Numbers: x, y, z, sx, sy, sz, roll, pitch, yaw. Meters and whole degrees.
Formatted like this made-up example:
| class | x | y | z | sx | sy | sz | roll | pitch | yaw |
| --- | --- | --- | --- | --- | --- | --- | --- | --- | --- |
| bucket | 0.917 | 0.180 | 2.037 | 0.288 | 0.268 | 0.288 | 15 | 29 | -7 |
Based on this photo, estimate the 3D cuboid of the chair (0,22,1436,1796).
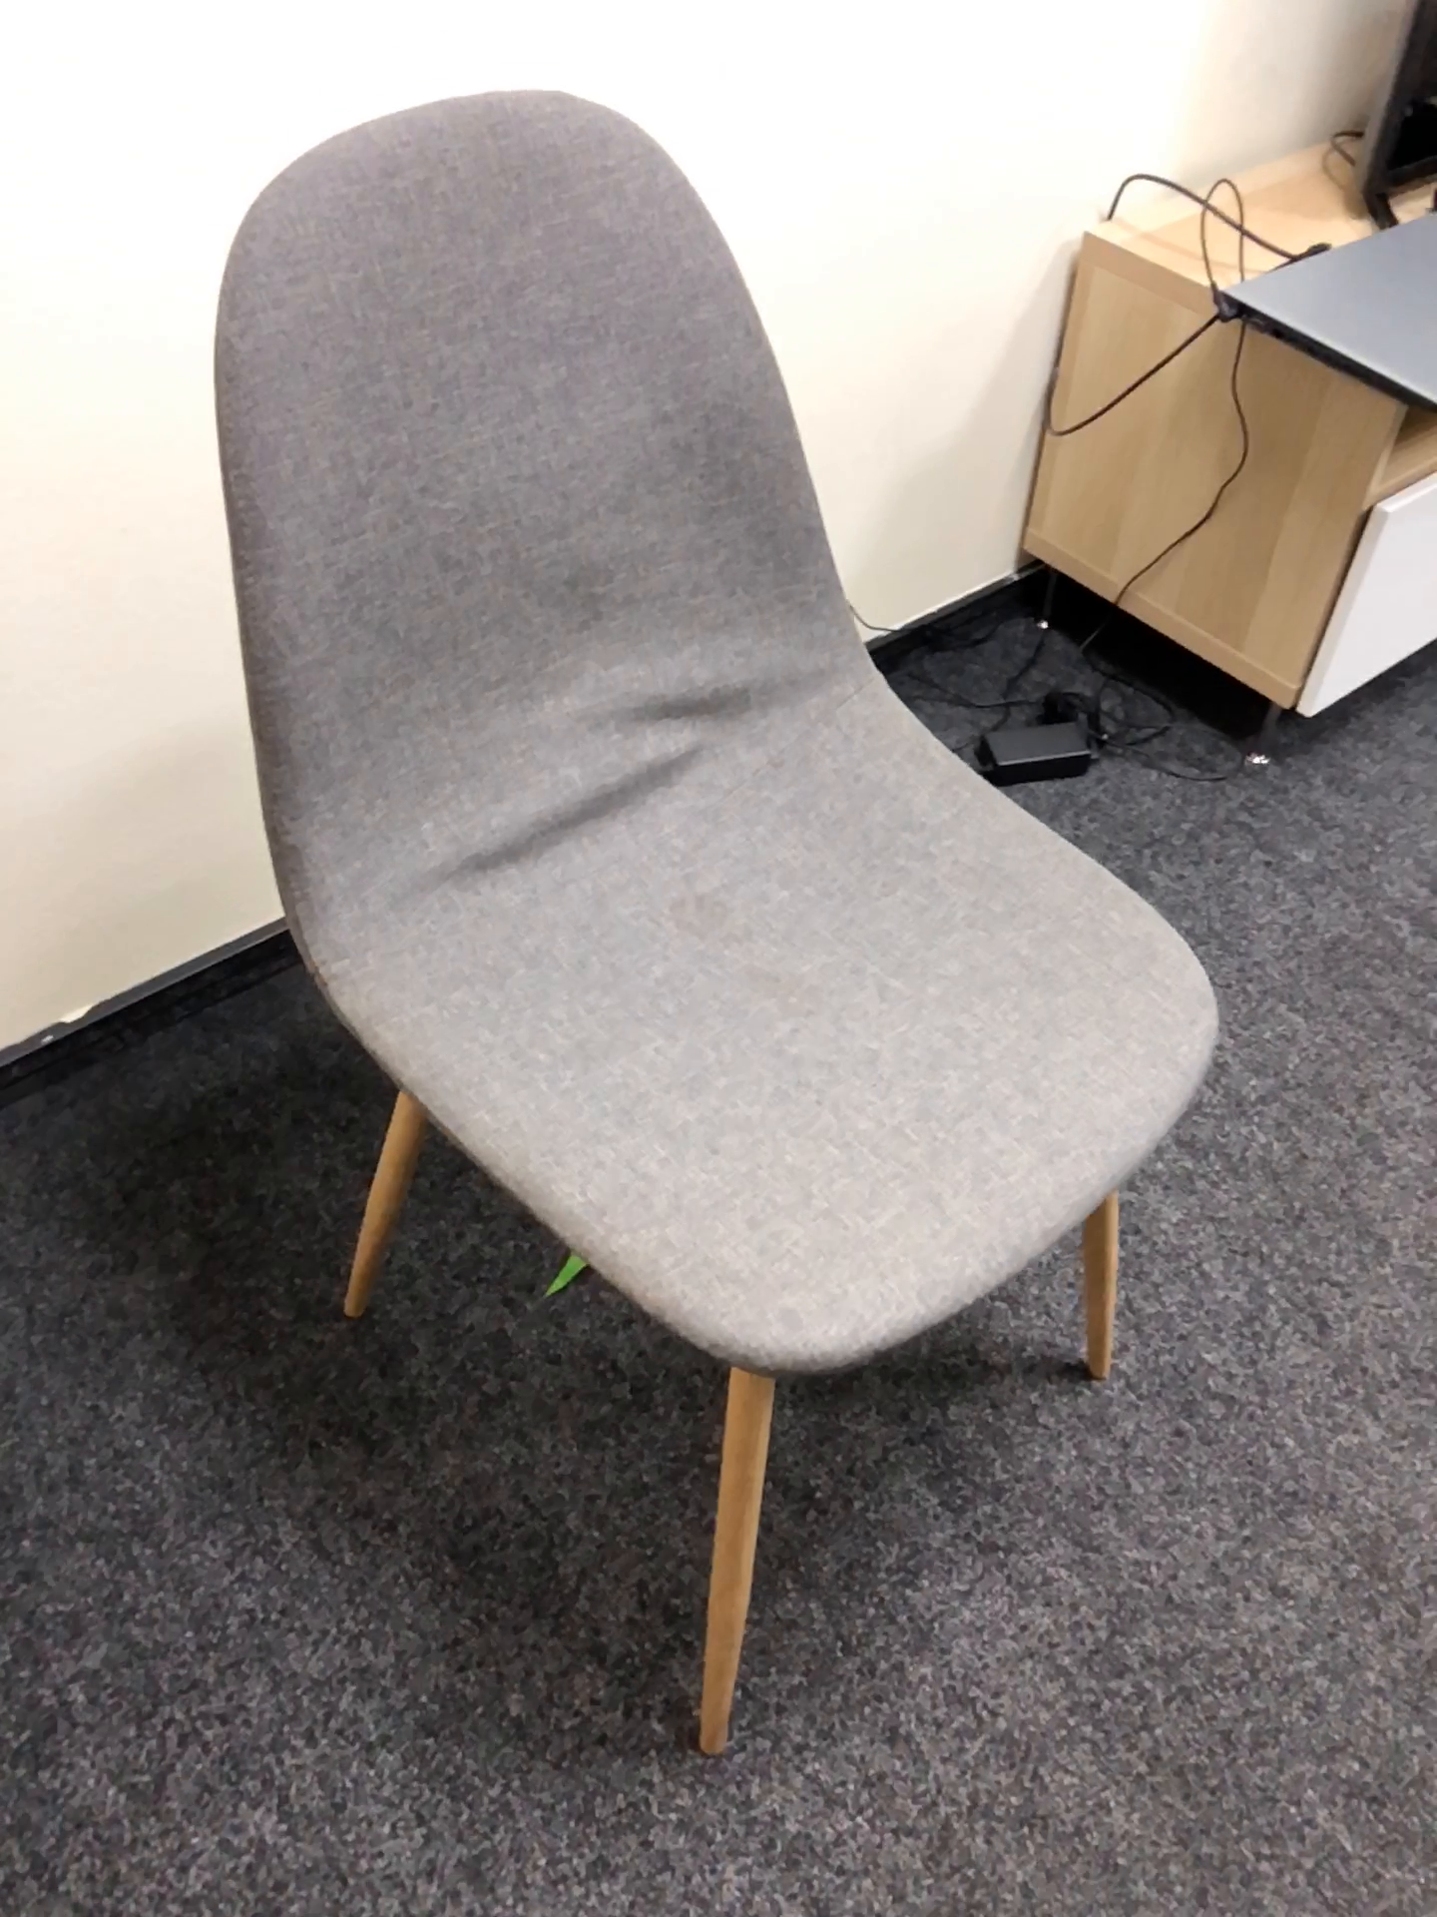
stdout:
| class | x | y | z | sx | sy | sz | roll | pitch | yaw |
| --- | --- | --- | --- | --- | --- | --- | --- | --- | --- |
| chair | -0.031 | -0.016 | 0.970 | 0.472 | 0.785 | 0.602 | -32 | 56 | -28 |
